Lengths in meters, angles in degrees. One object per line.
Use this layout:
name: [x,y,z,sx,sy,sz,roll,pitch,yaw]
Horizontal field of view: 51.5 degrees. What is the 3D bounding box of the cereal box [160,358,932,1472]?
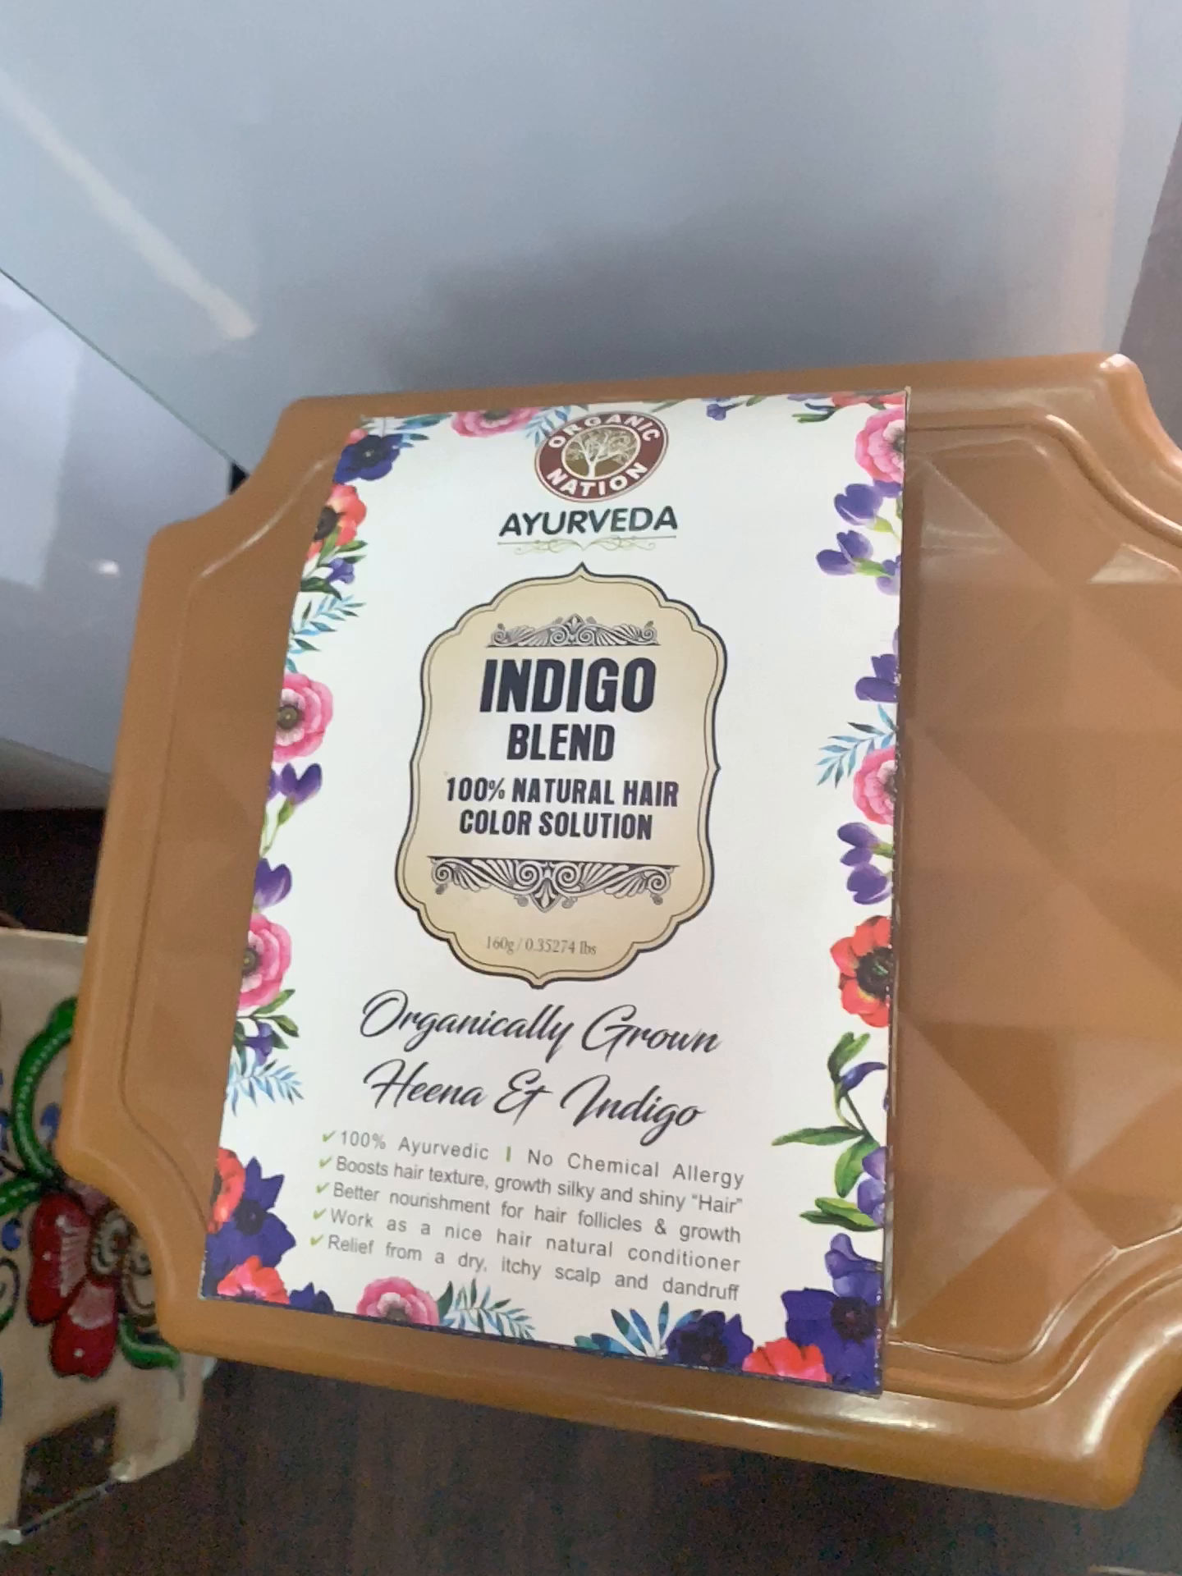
cereal box: [0.001,0.020,0.272,0.140,0.070,0.200,1,78,16]
